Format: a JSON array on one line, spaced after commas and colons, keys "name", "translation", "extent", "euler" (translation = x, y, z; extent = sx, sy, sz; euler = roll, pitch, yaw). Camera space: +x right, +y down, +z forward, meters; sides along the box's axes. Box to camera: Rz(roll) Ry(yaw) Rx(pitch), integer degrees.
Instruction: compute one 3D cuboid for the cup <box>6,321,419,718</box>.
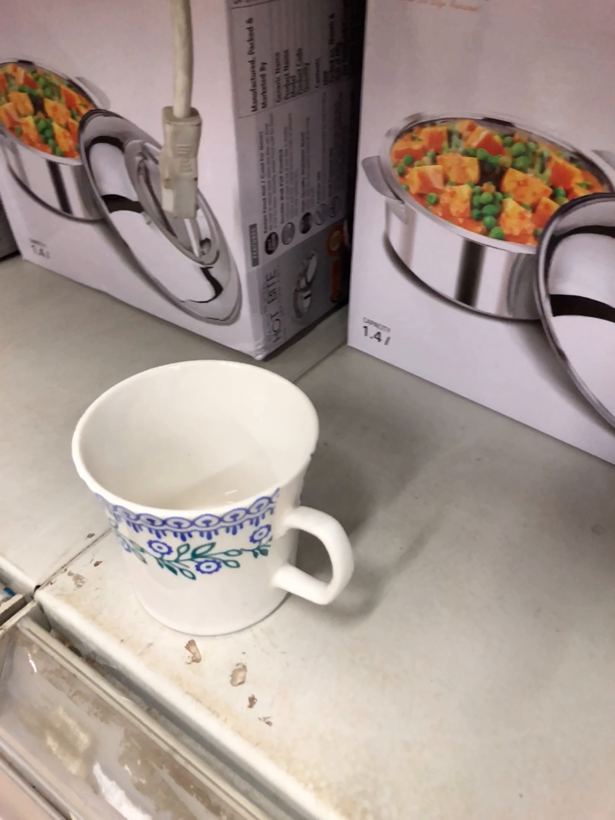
[{"name": "cup", "translation": [-0.027, 0.030, 0.225], "extent": [0.100, 0.070, 0.070], "euler": [20, 43, 23]}]
